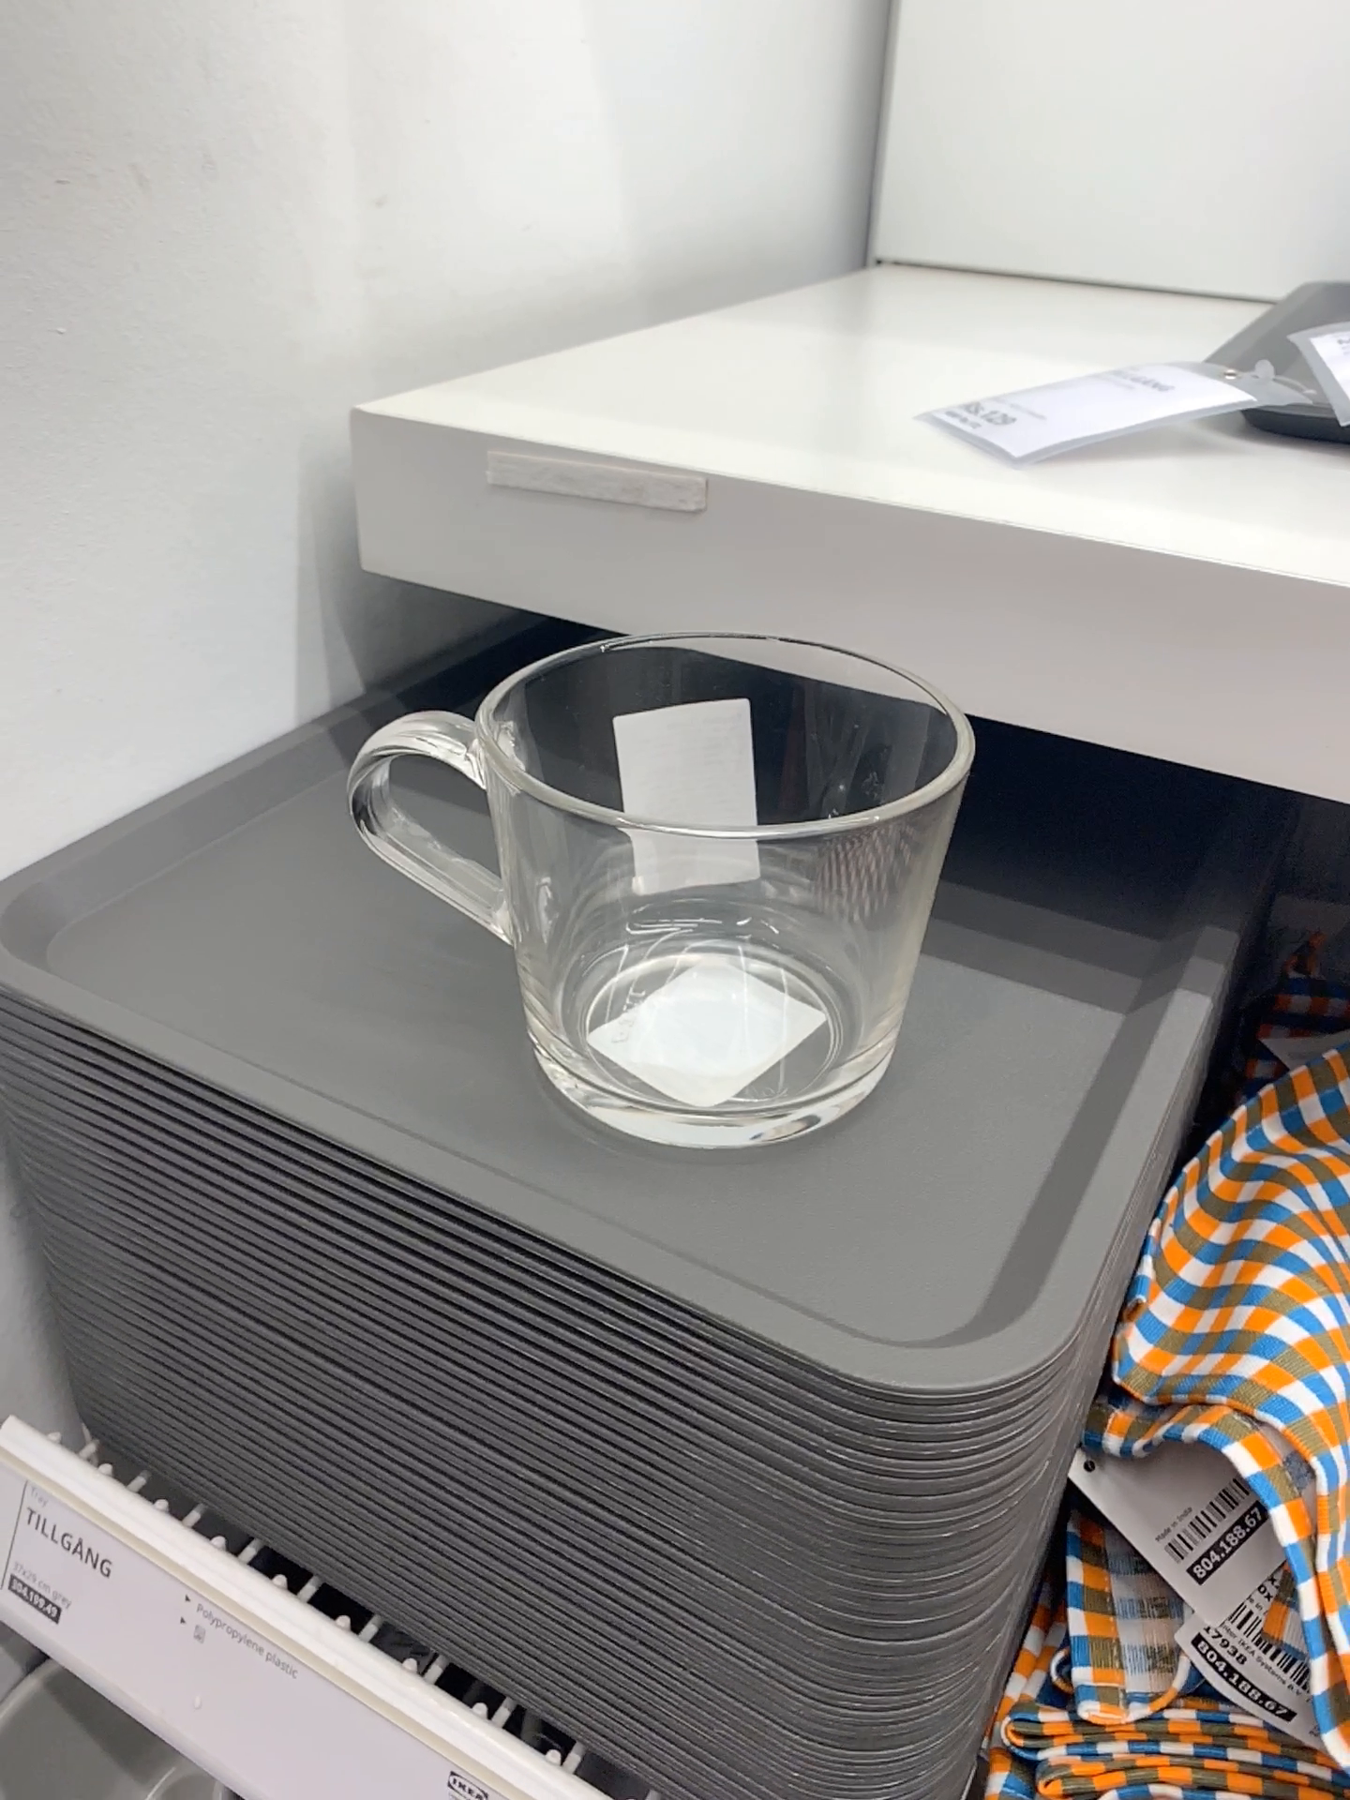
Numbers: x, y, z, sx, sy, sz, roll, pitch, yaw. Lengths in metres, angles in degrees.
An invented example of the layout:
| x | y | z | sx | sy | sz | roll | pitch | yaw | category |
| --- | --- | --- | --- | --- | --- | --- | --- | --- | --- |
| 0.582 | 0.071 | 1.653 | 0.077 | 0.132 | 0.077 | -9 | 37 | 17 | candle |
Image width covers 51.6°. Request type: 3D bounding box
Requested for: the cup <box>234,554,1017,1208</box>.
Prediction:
| x | y | z | sx | sy | sz | roll | pitch | yaw | category |
| --- | --- | --- | --- | --- | --- | --- | --- | --- | --- |
| -0.005 | -0.013 | 0.301 | 0.130 | 0.080 | 0.100 | 12 | 32 | 16 | cup |
